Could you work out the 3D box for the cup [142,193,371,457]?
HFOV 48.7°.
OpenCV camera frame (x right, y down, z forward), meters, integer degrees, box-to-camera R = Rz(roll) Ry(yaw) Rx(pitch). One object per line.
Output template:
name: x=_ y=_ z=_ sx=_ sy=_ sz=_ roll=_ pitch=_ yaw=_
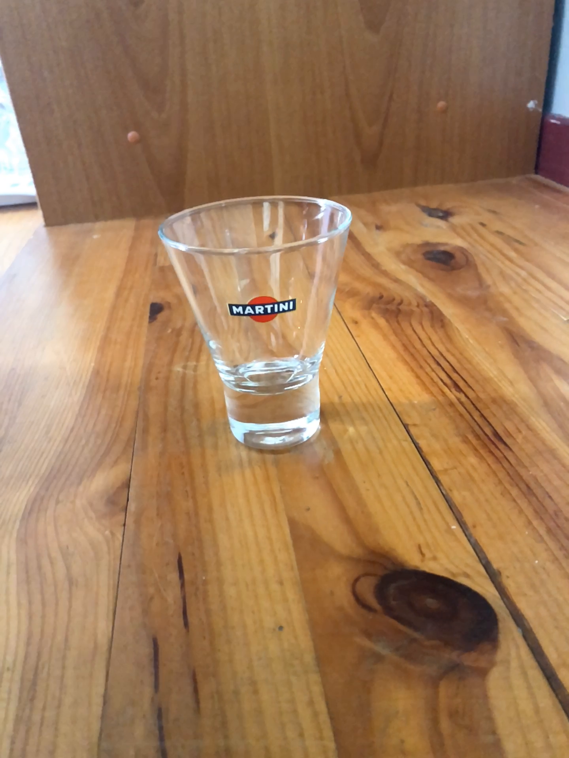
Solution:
cup: x=-0.008 y=-0.030 z=0.311 sx=0.091 sy=0.097 sz=0.089 roll=-3 pitch=30 yaw=2
